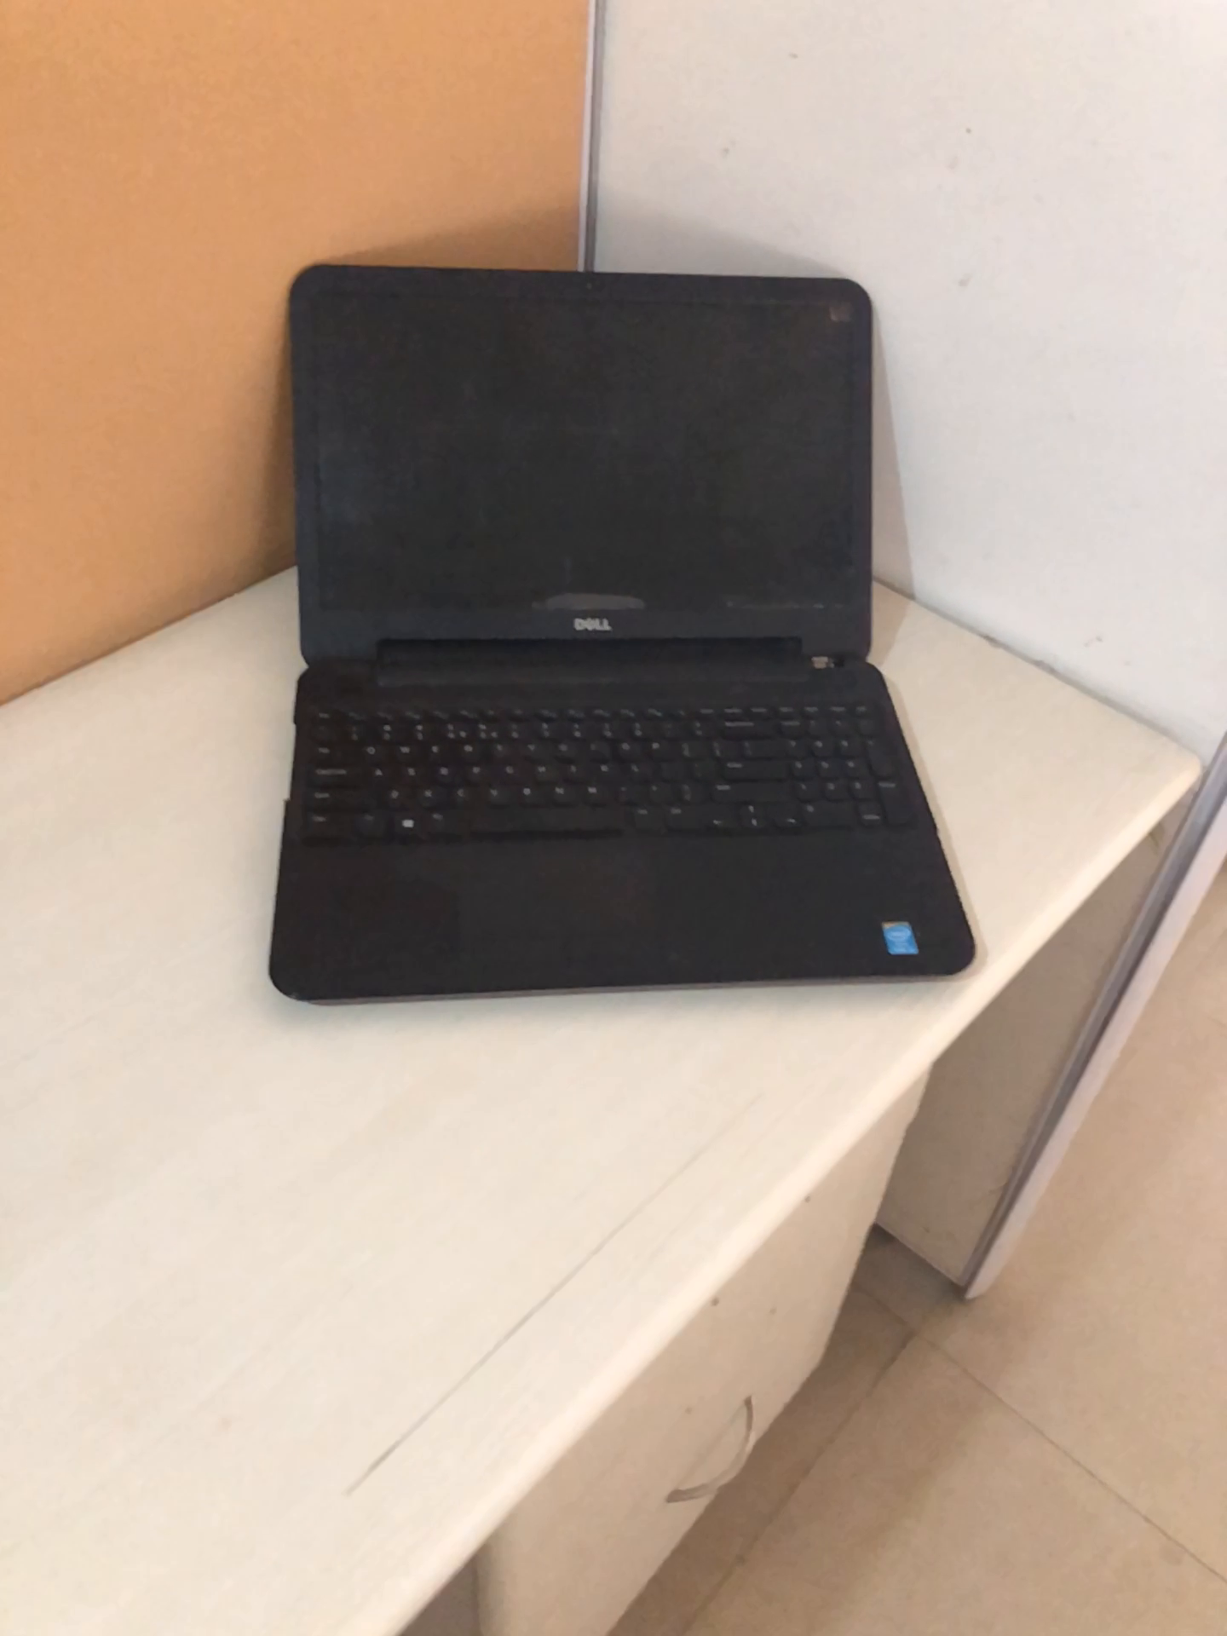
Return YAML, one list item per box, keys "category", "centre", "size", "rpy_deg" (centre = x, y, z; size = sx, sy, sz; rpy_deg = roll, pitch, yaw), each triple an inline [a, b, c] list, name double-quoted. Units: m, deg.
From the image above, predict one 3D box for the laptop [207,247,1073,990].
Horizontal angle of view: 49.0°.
- category: "laptop"
  centre: [-0.007, -0.133, 0.747]
  size: [0.352, 0.175, 0.416]
  rpy_deg: [-1, 46, -6]
